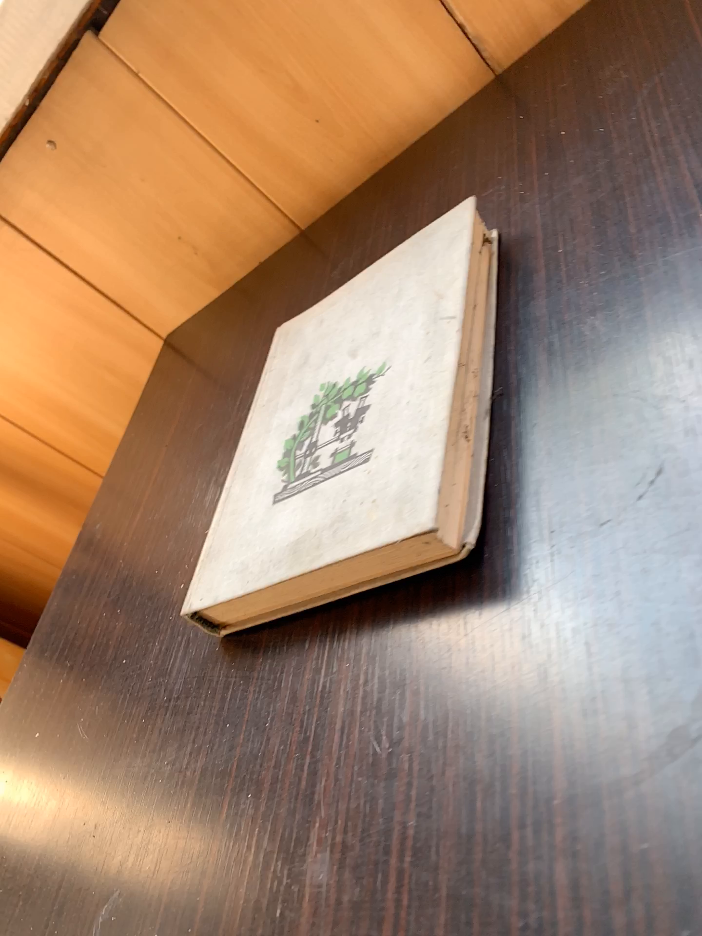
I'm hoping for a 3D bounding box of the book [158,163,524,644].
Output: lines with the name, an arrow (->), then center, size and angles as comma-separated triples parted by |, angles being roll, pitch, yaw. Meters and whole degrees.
book -> 0.000, -0.026, 0.288 | 0.136, 0.027, 0.169 | -25, 39, 39
